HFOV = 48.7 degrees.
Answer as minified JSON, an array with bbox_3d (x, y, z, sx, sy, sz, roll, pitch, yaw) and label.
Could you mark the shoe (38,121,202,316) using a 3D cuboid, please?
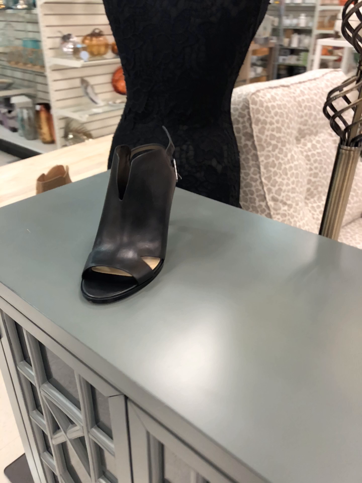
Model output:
[{"bbox_3d":[-0.056,-0.048,0.511,0.095,0.150,0.238,10,31,17],"label":"shoe"}]
